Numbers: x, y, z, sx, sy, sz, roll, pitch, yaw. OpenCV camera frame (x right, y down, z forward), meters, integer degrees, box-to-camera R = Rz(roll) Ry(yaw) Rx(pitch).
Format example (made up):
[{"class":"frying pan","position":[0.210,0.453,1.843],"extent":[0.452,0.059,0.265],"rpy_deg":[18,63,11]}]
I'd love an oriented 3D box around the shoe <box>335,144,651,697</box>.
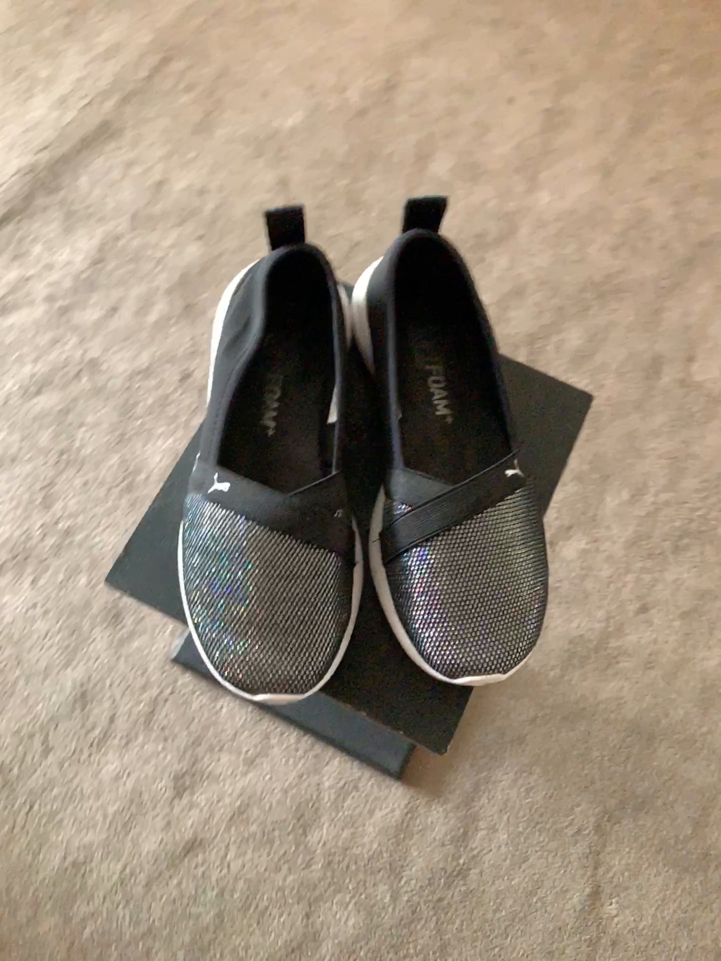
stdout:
[{"class":"shoe","position":[0.049,-0.031,0.377],"extent":[0.100,0.100,0.257],"rpy_deg":[-4,71,-5]}]

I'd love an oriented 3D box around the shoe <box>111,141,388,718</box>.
[{"class":"shoe","position":[-0.043,-0.023,0.362],"extent":[0.100,0.100,0.261],"rpy_deg":[1,70,-4]}]
